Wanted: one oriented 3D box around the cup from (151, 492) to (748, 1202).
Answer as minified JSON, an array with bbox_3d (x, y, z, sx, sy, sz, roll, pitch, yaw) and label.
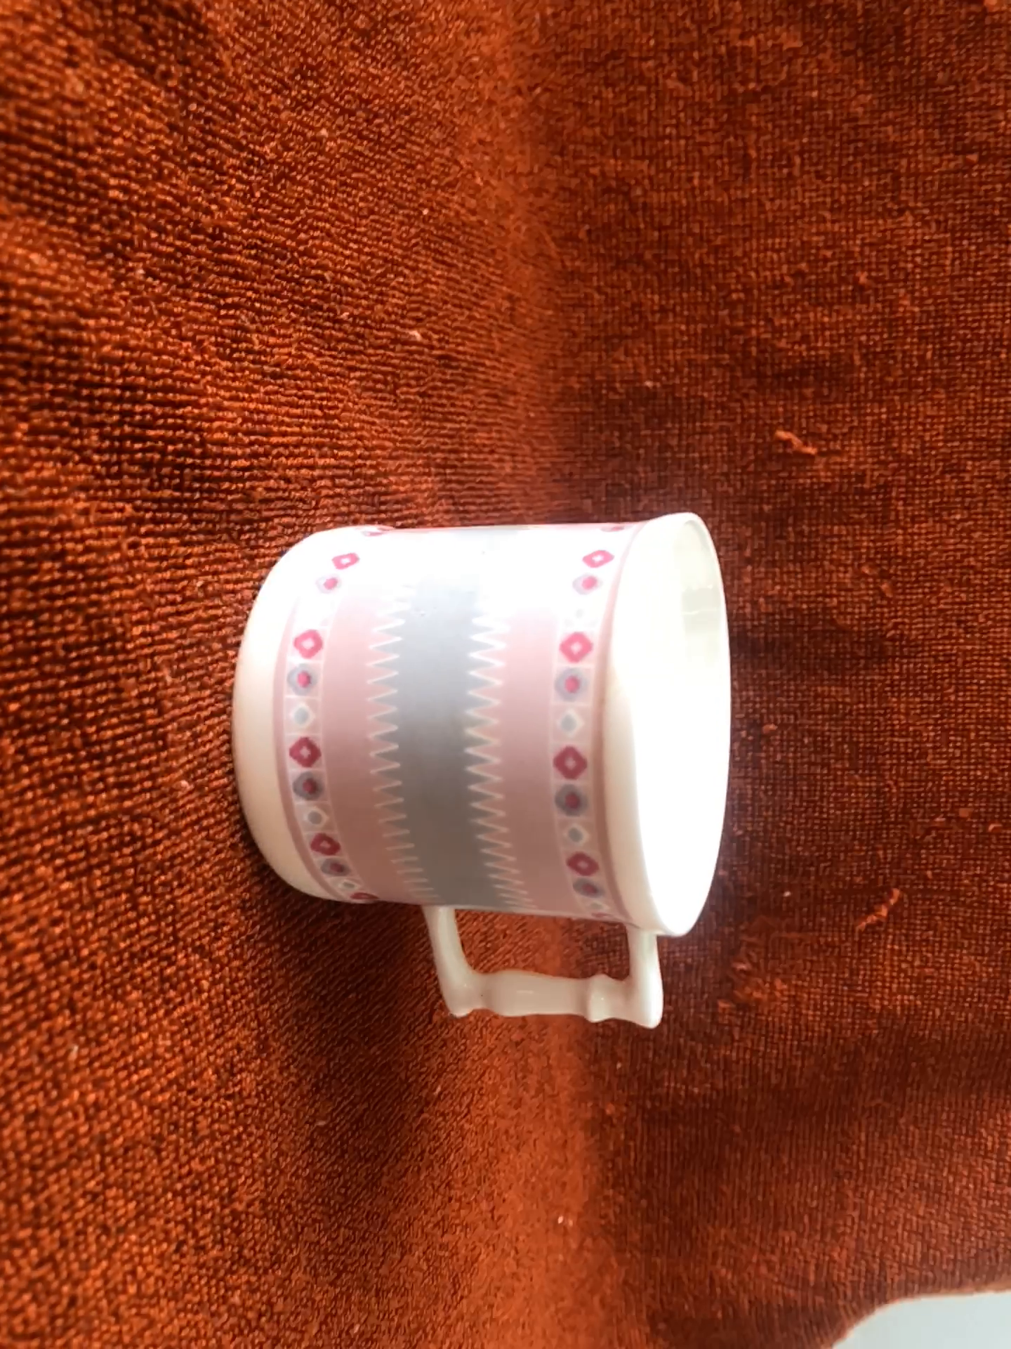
[{"bbox_3d":[-0.001,0.022,0.185,0.060,0.070,0.090,-47,136,-60],"label":"cup"}]
